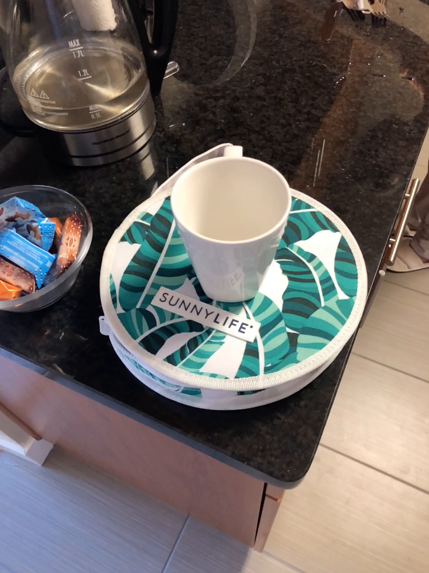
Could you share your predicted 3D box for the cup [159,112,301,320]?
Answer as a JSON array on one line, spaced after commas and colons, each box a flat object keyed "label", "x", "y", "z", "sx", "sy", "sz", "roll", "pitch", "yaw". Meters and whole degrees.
[{"label": "cup", "x": 0.008, "y": -0.056, "z": 0.376, "sx": 0.090, "sy": 0.090, "sz": 0.130, "roll": -5, "pitch": 55, "yaw": -1}]
